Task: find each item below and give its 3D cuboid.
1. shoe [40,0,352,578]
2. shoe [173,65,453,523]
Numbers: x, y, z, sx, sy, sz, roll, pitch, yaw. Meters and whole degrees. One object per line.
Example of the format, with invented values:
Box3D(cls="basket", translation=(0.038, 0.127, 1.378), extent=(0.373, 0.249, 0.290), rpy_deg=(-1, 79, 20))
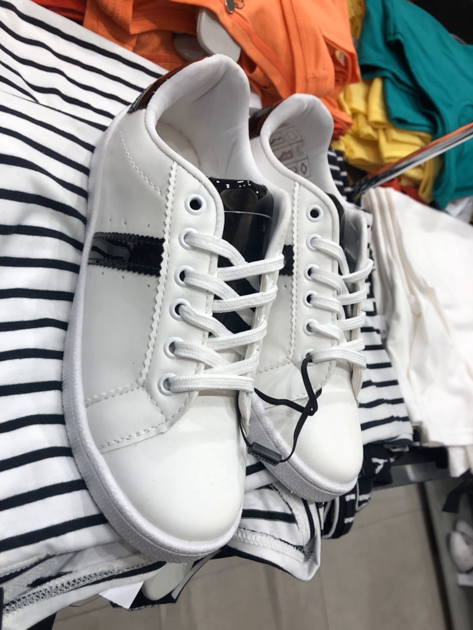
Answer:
Box3D(cls="shoe", translation=(-0.025, -0.015, 0.222), extent=(0.080, 0.079, 0.210), rpy_deg=(12, 65, -45))
Box3D(cls="shoe", translation=(0.036, -0.007, 0.289), extent=(0.091, 0.079, 0.210), rpy_deg=(9, 67, -46))
